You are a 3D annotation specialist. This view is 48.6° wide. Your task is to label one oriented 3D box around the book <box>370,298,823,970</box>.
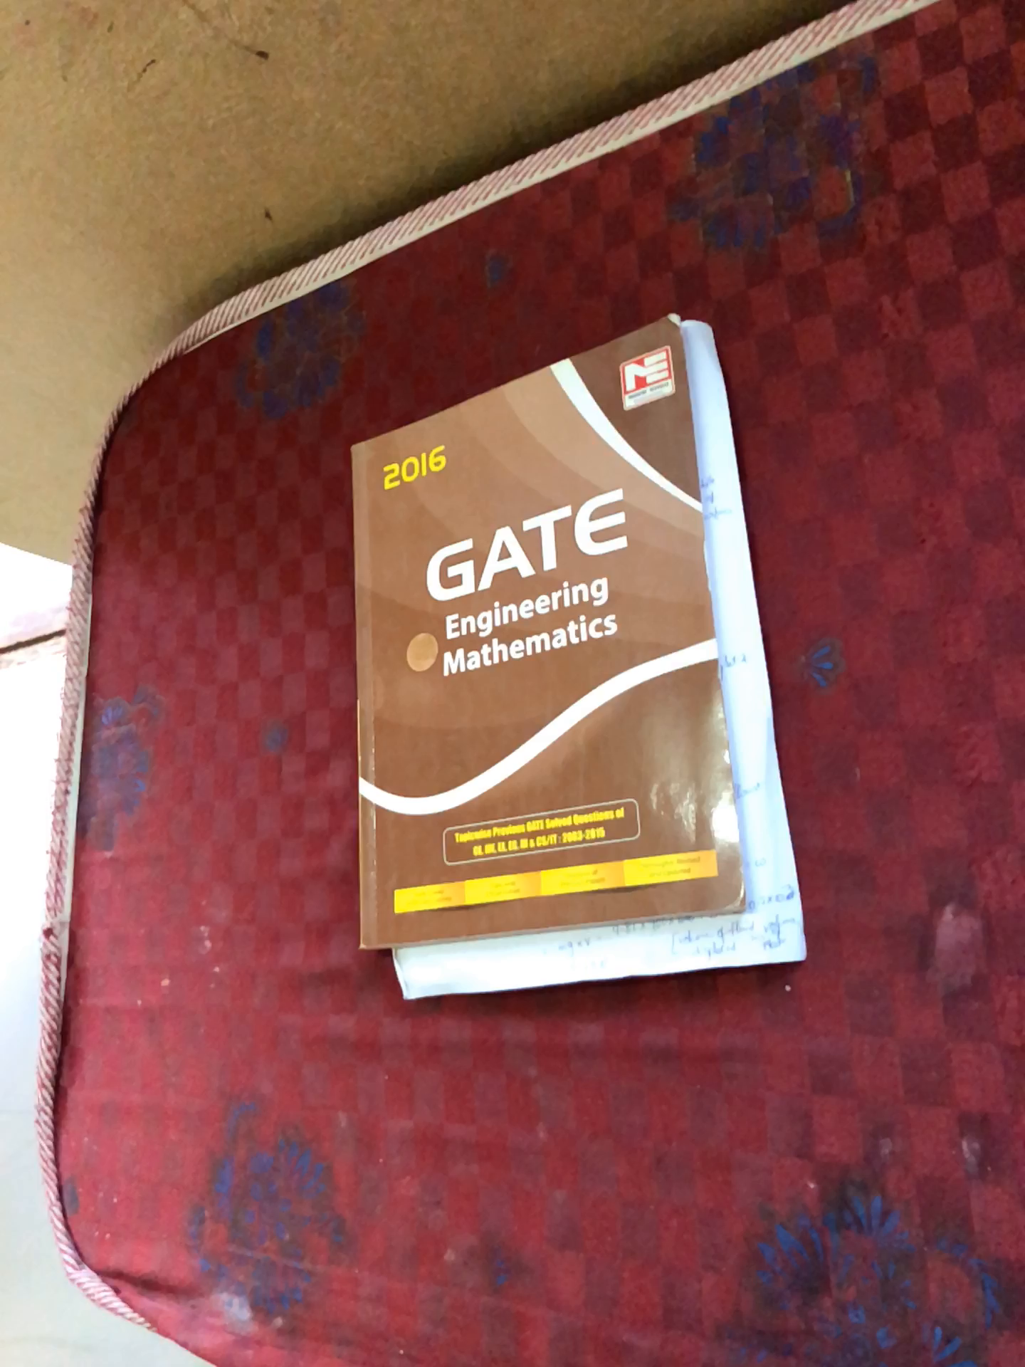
[{"bbox_3d":[0.025,-0.016,0.575,0.221,0.040,0.300,-13,70,31],"label":"book"}]
